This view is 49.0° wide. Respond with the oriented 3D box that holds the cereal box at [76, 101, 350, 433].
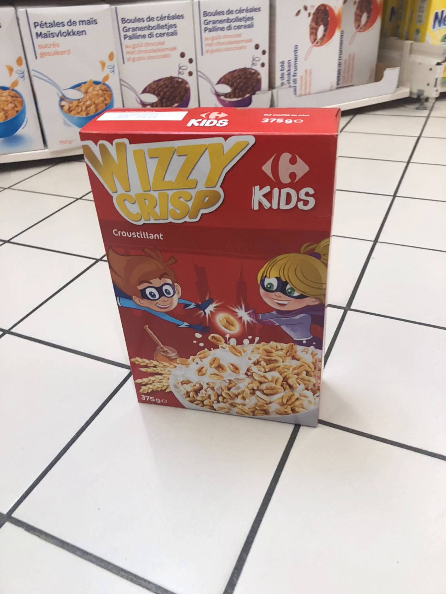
[{"bbox_3d":[0.005,-0.020,0.443,0.190,0.278,0.091,5,34,12],"label":"cereal box"}]
